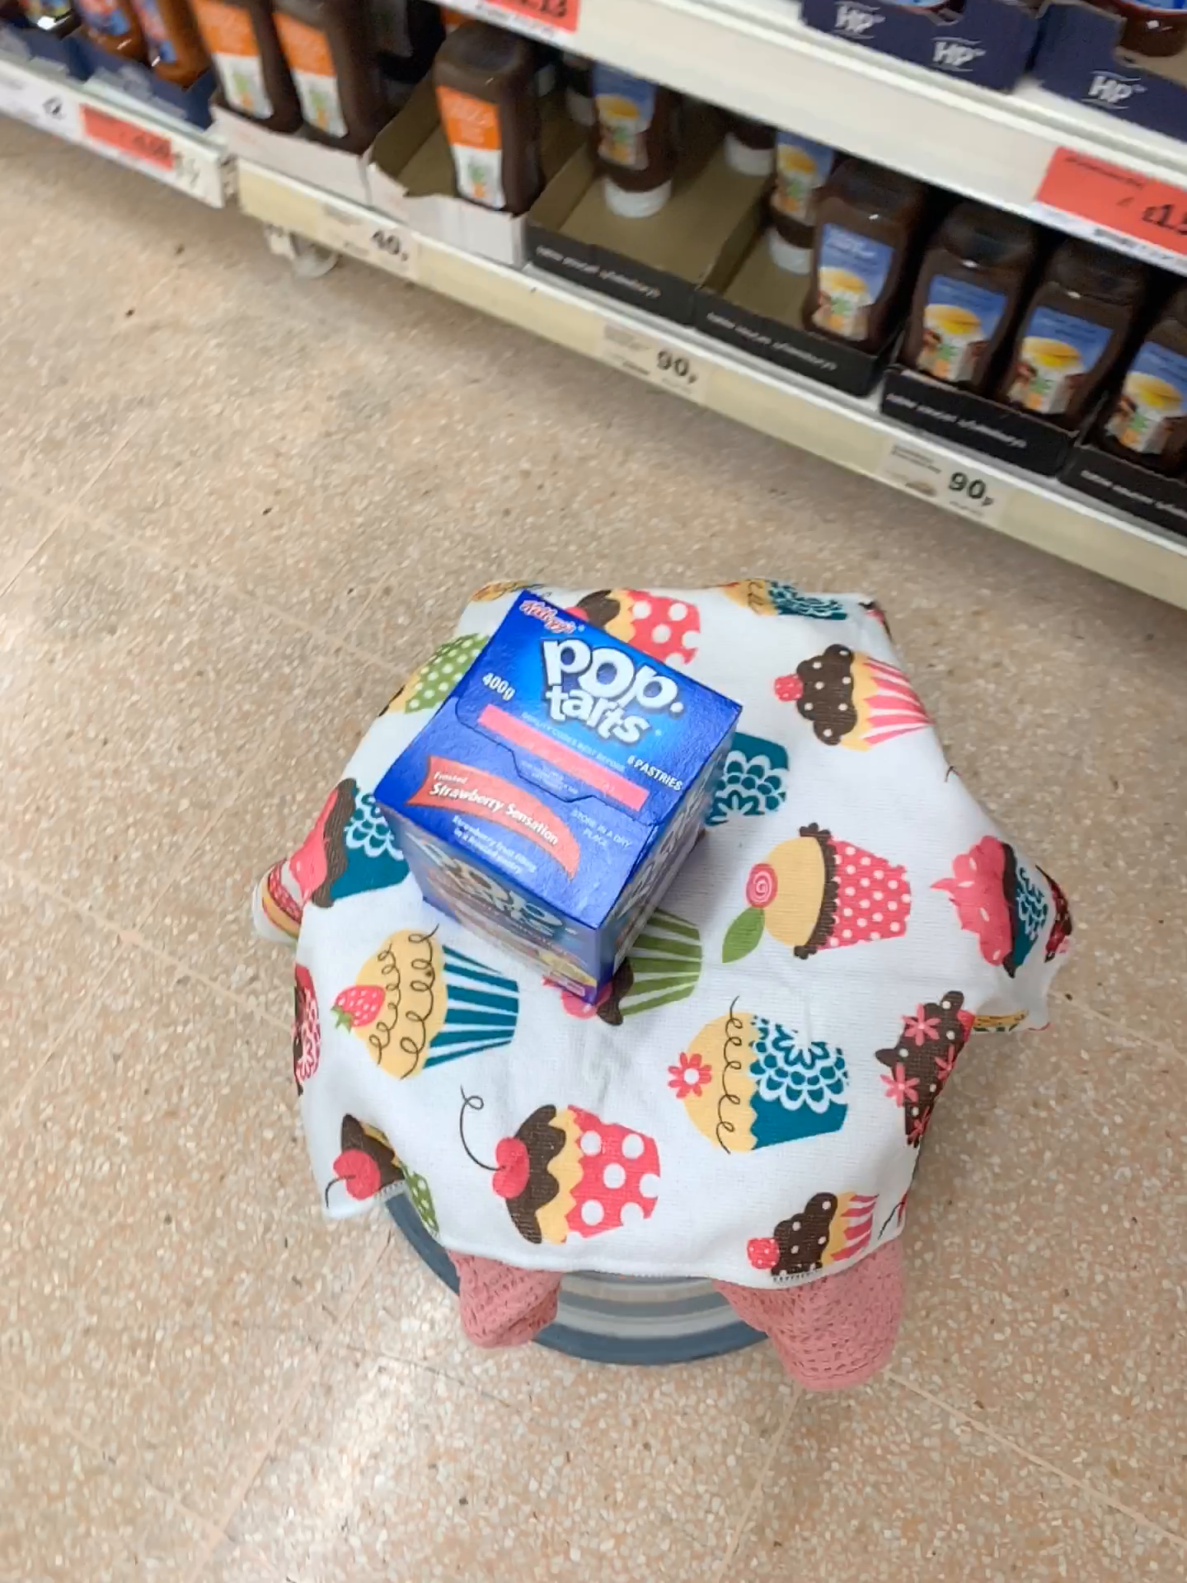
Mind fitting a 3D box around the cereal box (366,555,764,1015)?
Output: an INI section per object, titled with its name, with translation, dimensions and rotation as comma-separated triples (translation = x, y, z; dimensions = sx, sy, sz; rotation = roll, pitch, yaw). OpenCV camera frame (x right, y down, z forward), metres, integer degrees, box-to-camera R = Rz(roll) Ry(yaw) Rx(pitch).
[cereal box]
translation = -0.007, 0.005, 0.461
dimensions = 0.090, 0.139, 0.100
rotation = 31, 72, 13
